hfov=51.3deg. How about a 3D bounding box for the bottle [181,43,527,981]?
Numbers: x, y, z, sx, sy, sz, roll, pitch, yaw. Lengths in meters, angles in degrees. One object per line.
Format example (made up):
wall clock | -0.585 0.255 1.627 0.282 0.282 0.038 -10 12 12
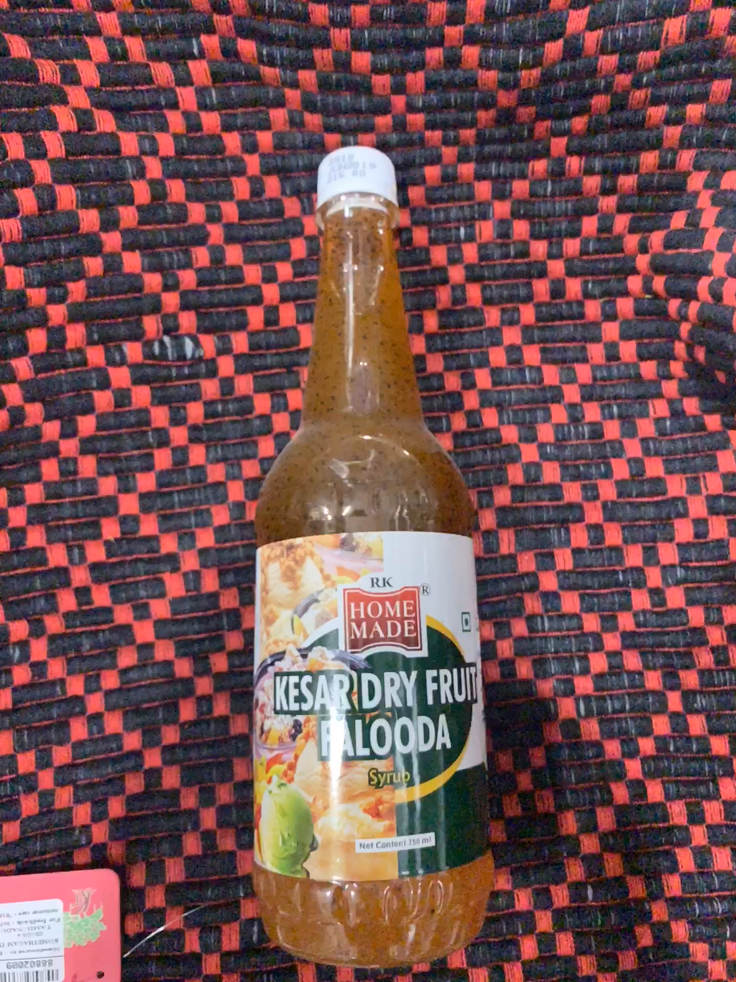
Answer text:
bottle | -0.008 0.003 0.237 0.080 0.070 0.260 -2 79 -1
